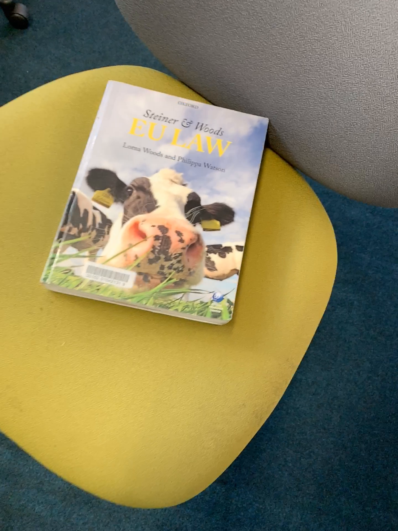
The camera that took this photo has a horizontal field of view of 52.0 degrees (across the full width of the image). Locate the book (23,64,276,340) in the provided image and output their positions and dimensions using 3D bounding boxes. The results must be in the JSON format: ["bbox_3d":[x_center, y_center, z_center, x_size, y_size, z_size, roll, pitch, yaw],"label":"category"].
[{"bbox_3d":[-0.037,-0.073,0.434,0.200,0.050,0.261,12,70,-3],"label":"book"}]
